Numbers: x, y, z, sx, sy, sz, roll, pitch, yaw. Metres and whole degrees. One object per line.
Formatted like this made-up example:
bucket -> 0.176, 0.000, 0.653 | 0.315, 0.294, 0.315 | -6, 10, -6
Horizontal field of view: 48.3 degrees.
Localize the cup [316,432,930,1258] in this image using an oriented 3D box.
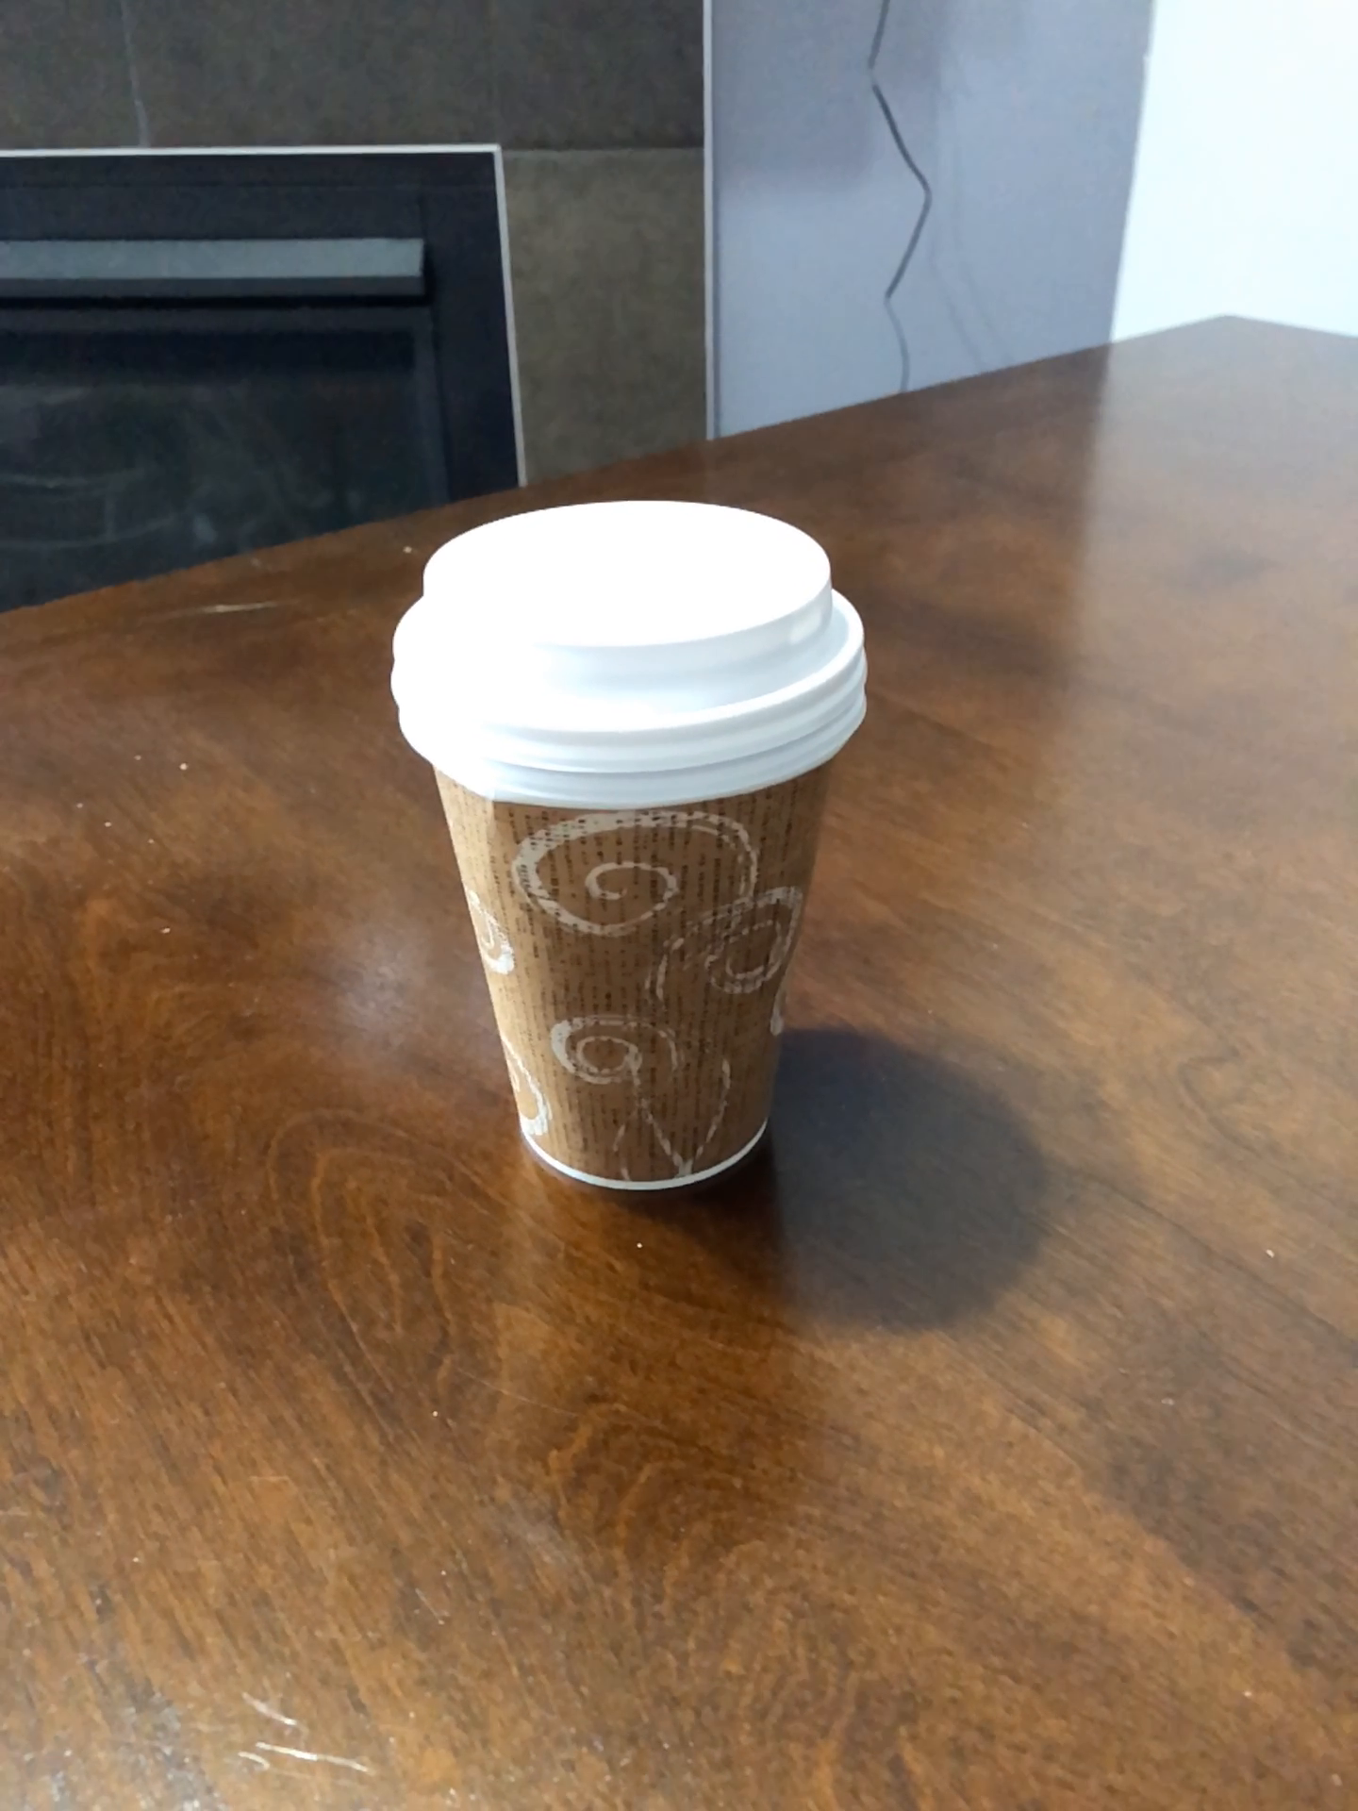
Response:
cup -> -0.002, -0.013, 0.244 | 0.070, 0.100, 0.080 | 7, 33, 12
